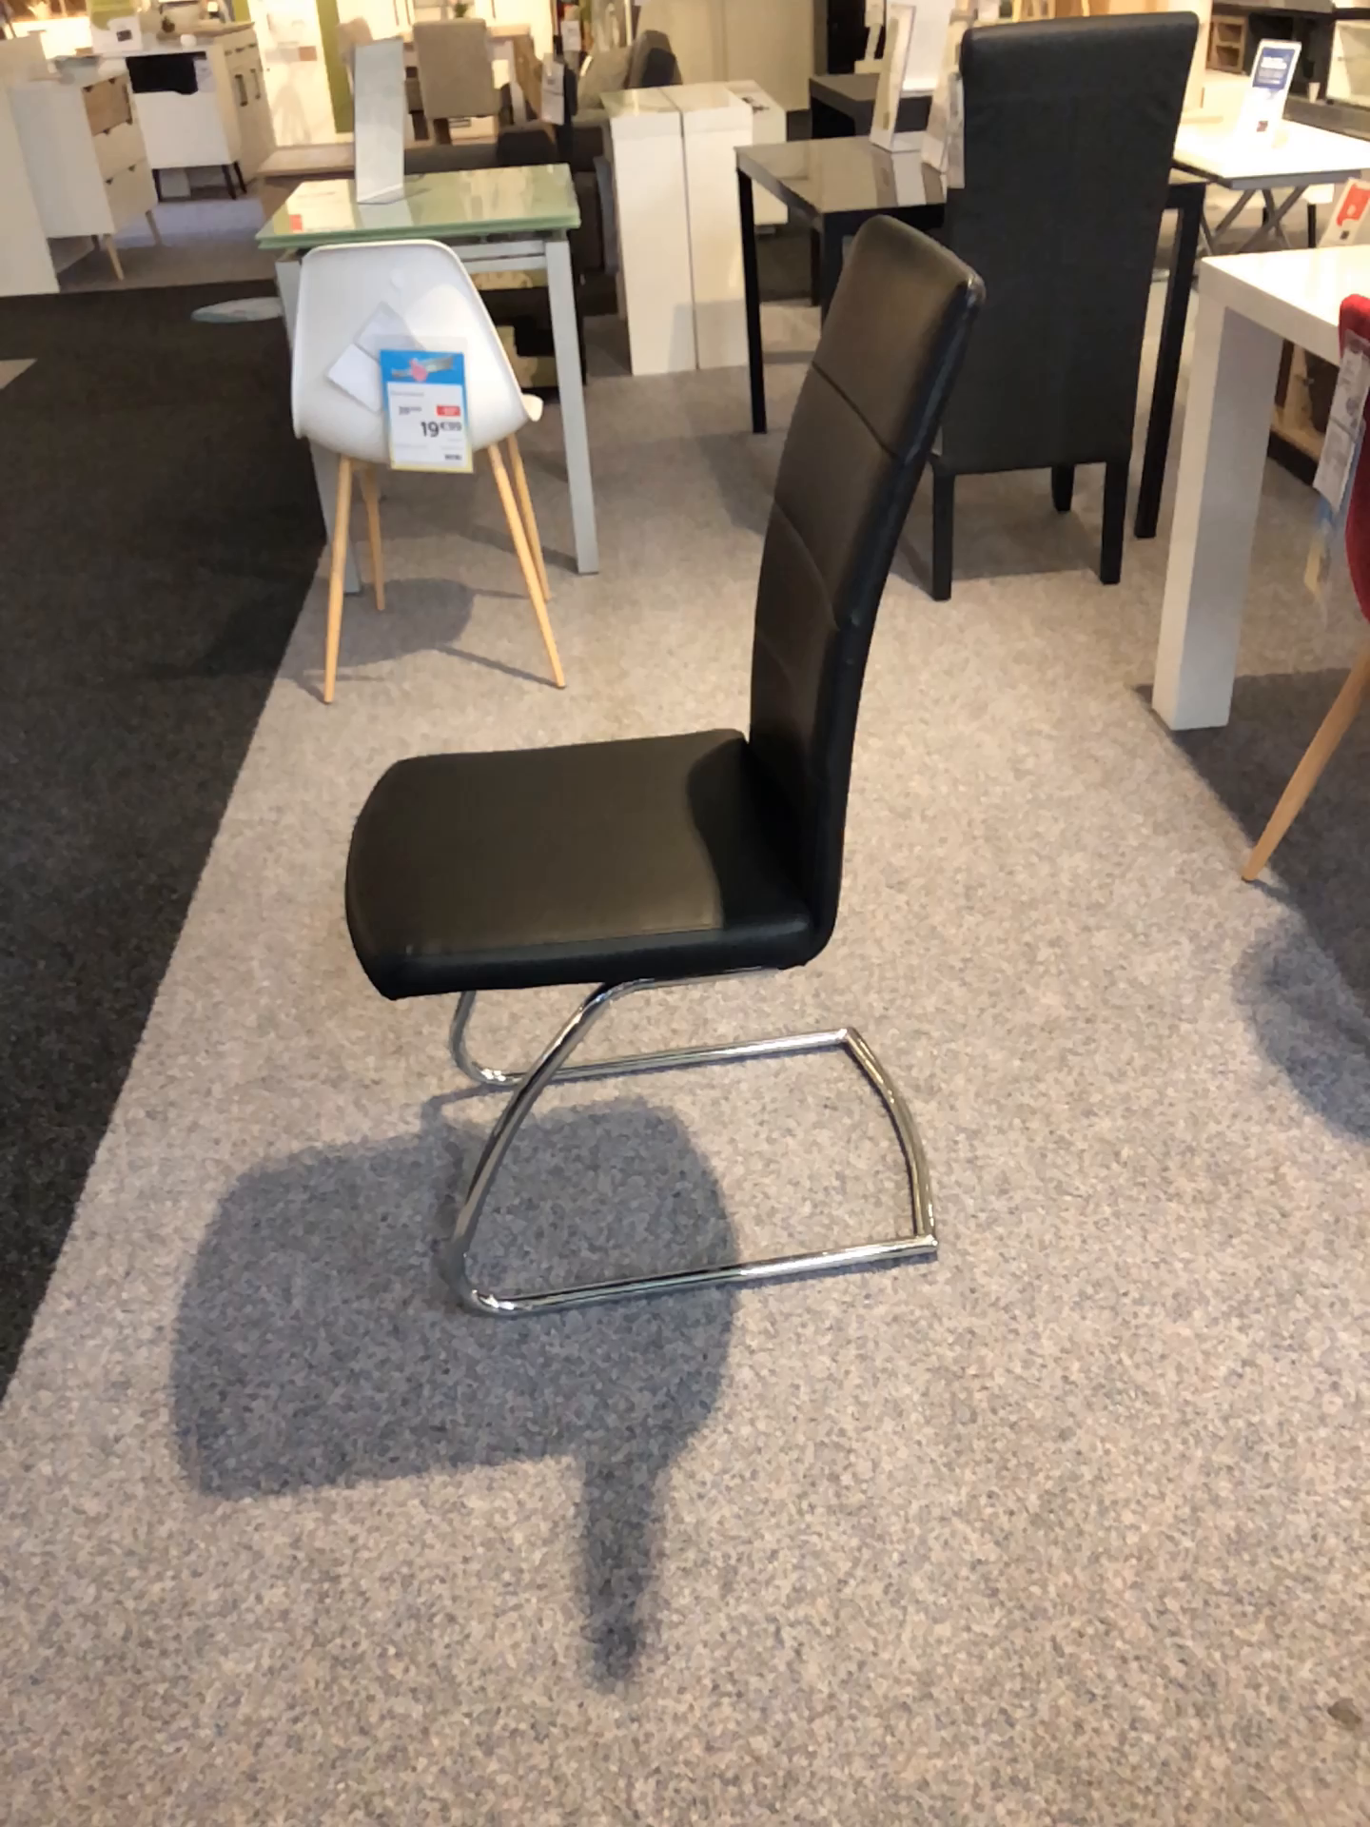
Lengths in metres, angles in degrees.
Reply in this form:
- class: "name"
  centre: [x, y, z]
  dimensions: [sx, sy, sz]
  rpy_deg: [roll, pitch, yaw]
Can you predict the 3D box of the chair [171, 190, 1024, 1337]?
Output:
- class: "chair"
  centre: [-0.052, -0.138, 1.427]
  dimensions: [0.560, 0.905, 0.493]
  rpy_deg: [-7, 32, -4]
